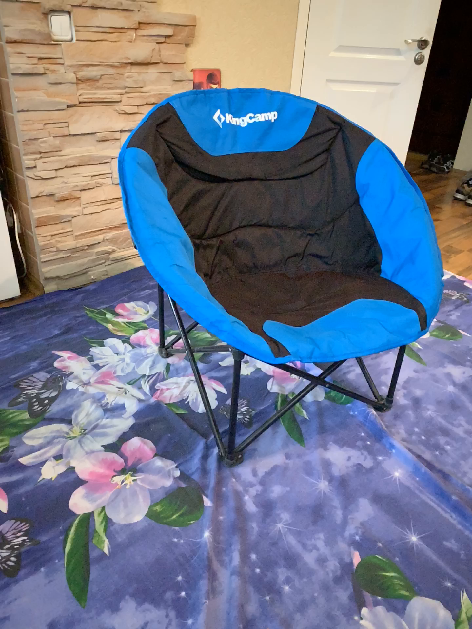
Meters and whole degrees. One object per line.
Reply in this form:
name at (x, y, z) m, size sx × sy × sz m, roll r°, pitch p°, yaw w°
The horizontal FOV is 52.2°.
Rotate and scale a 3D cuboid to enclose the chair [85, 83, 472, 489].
chair at (0.082, -0.154, 1.283) m, size 0.761 × 0.772 × 0.612 m, roll -11°, pitch 32°, yaw -23°
